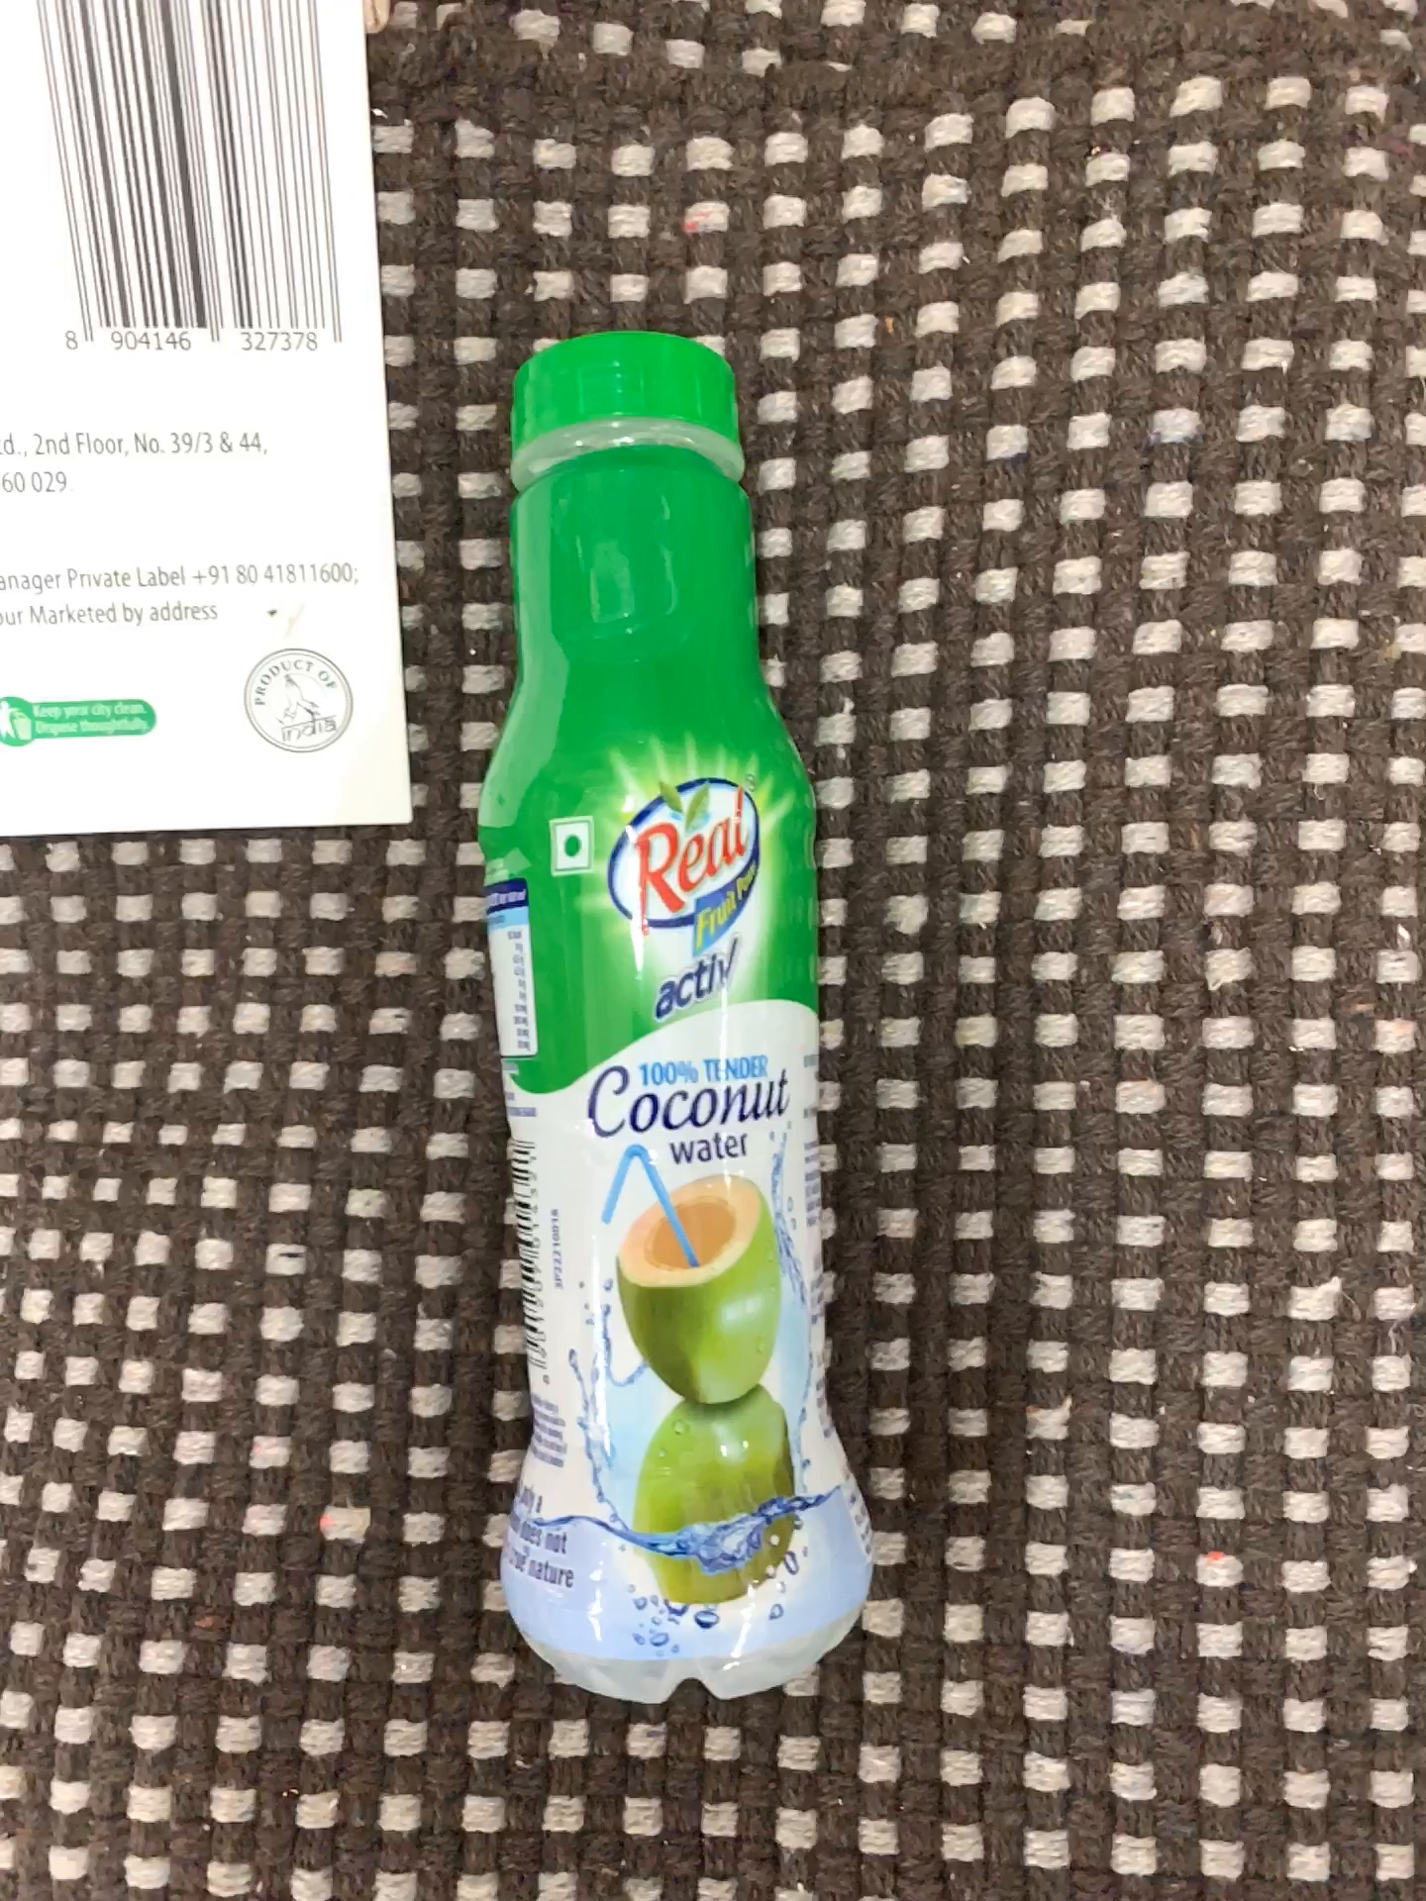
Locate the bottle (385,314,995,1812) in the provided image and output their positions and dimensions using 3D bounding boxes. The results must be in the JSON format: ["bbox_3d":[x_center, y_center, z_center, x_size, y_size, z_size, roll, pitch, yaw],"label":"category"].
[{"bbox_3d":[-0.003,0.013,0.191,0.060,0.040,0.170,-4,95,-7],"label":"bottle"}]
